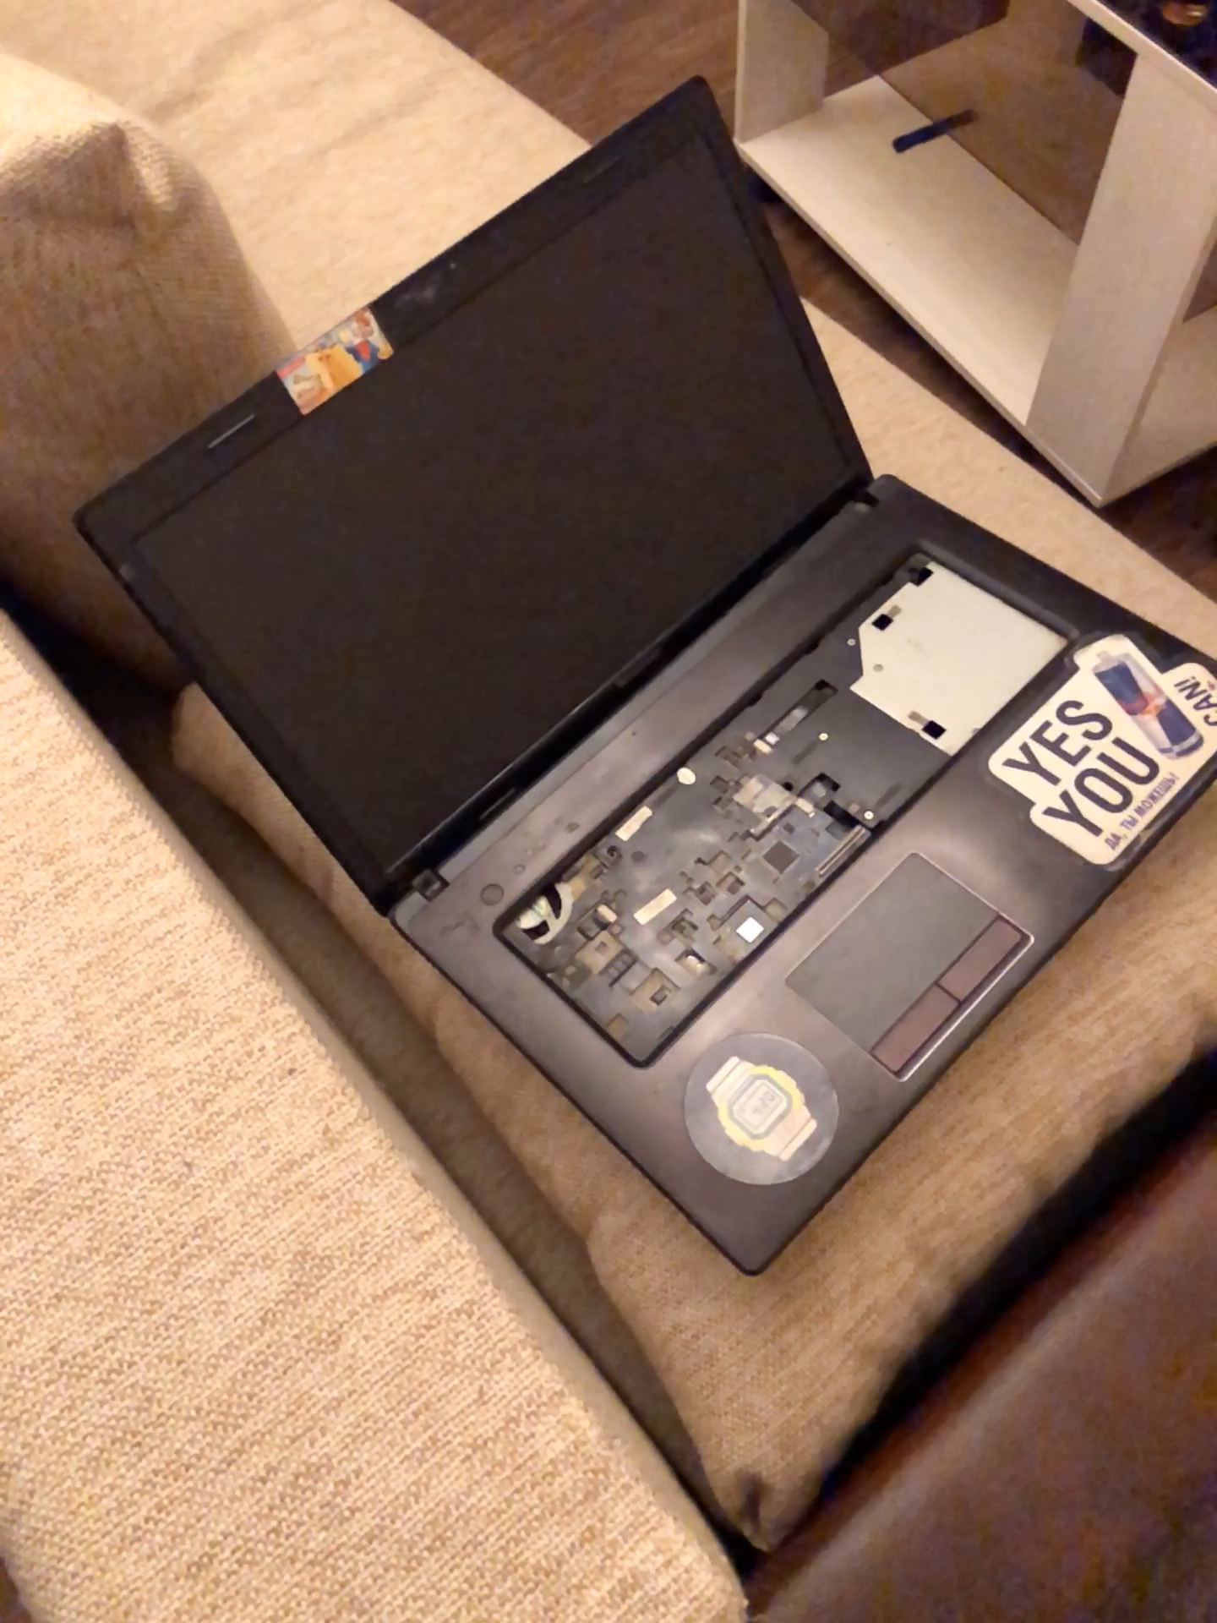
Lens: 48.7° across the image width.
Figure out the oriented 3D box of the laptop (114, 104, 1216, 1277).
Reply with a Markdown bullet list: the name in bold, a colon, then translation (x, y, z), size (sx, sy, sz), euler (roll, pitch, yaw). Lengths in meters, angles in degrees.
- **laptop**: translation (0.065, -0.088, 0.673), size (0.413, 0.198, 0.409), euler (-42, 64, -17)
